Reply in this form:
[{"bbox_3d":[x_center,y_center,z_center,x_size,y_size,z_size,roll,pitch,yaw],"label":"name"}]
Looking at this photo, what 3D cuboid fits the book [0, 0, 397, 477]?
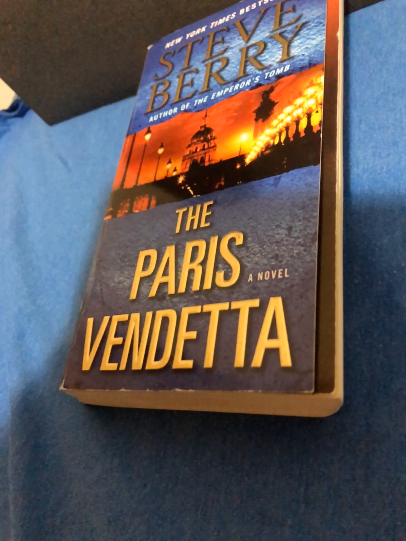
[{"bbox_3d":[0.012,-0.034,0.191,0.120,0.050,0.200,-4,60,27],"label":"book"}]
